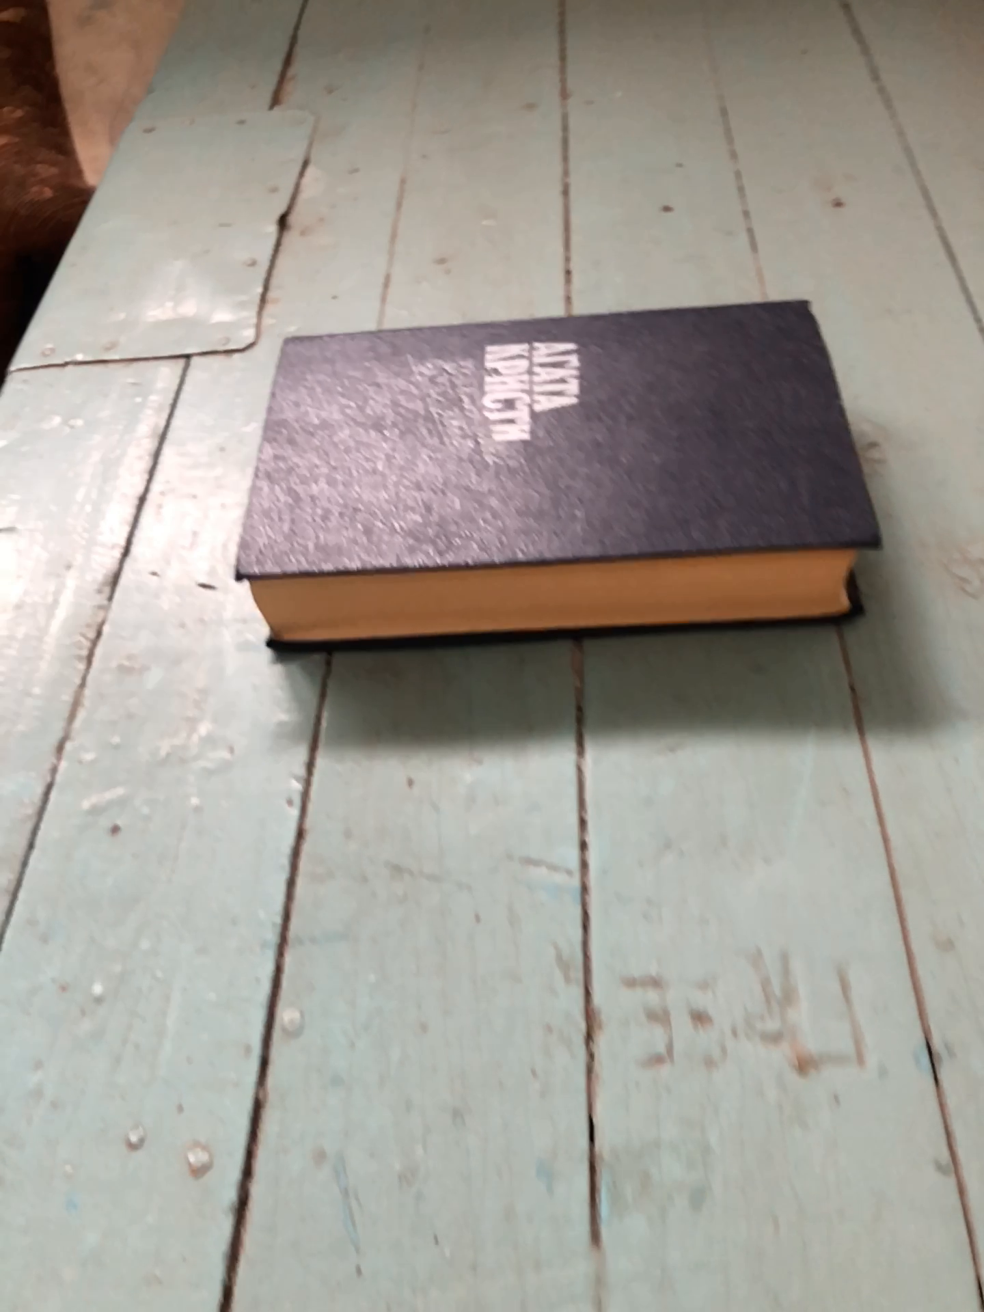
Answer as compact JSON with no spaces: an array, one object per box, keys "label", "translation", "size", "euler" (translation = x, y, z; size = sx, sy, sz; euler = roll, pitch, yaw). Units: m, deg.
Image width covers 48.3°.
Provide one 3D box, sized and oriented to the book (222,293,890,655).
[{"label":"book","translation":[0.021,-0.070,0.404],"size":[0.210,0.040,0.138],"euler":[-2,50,5]}]
